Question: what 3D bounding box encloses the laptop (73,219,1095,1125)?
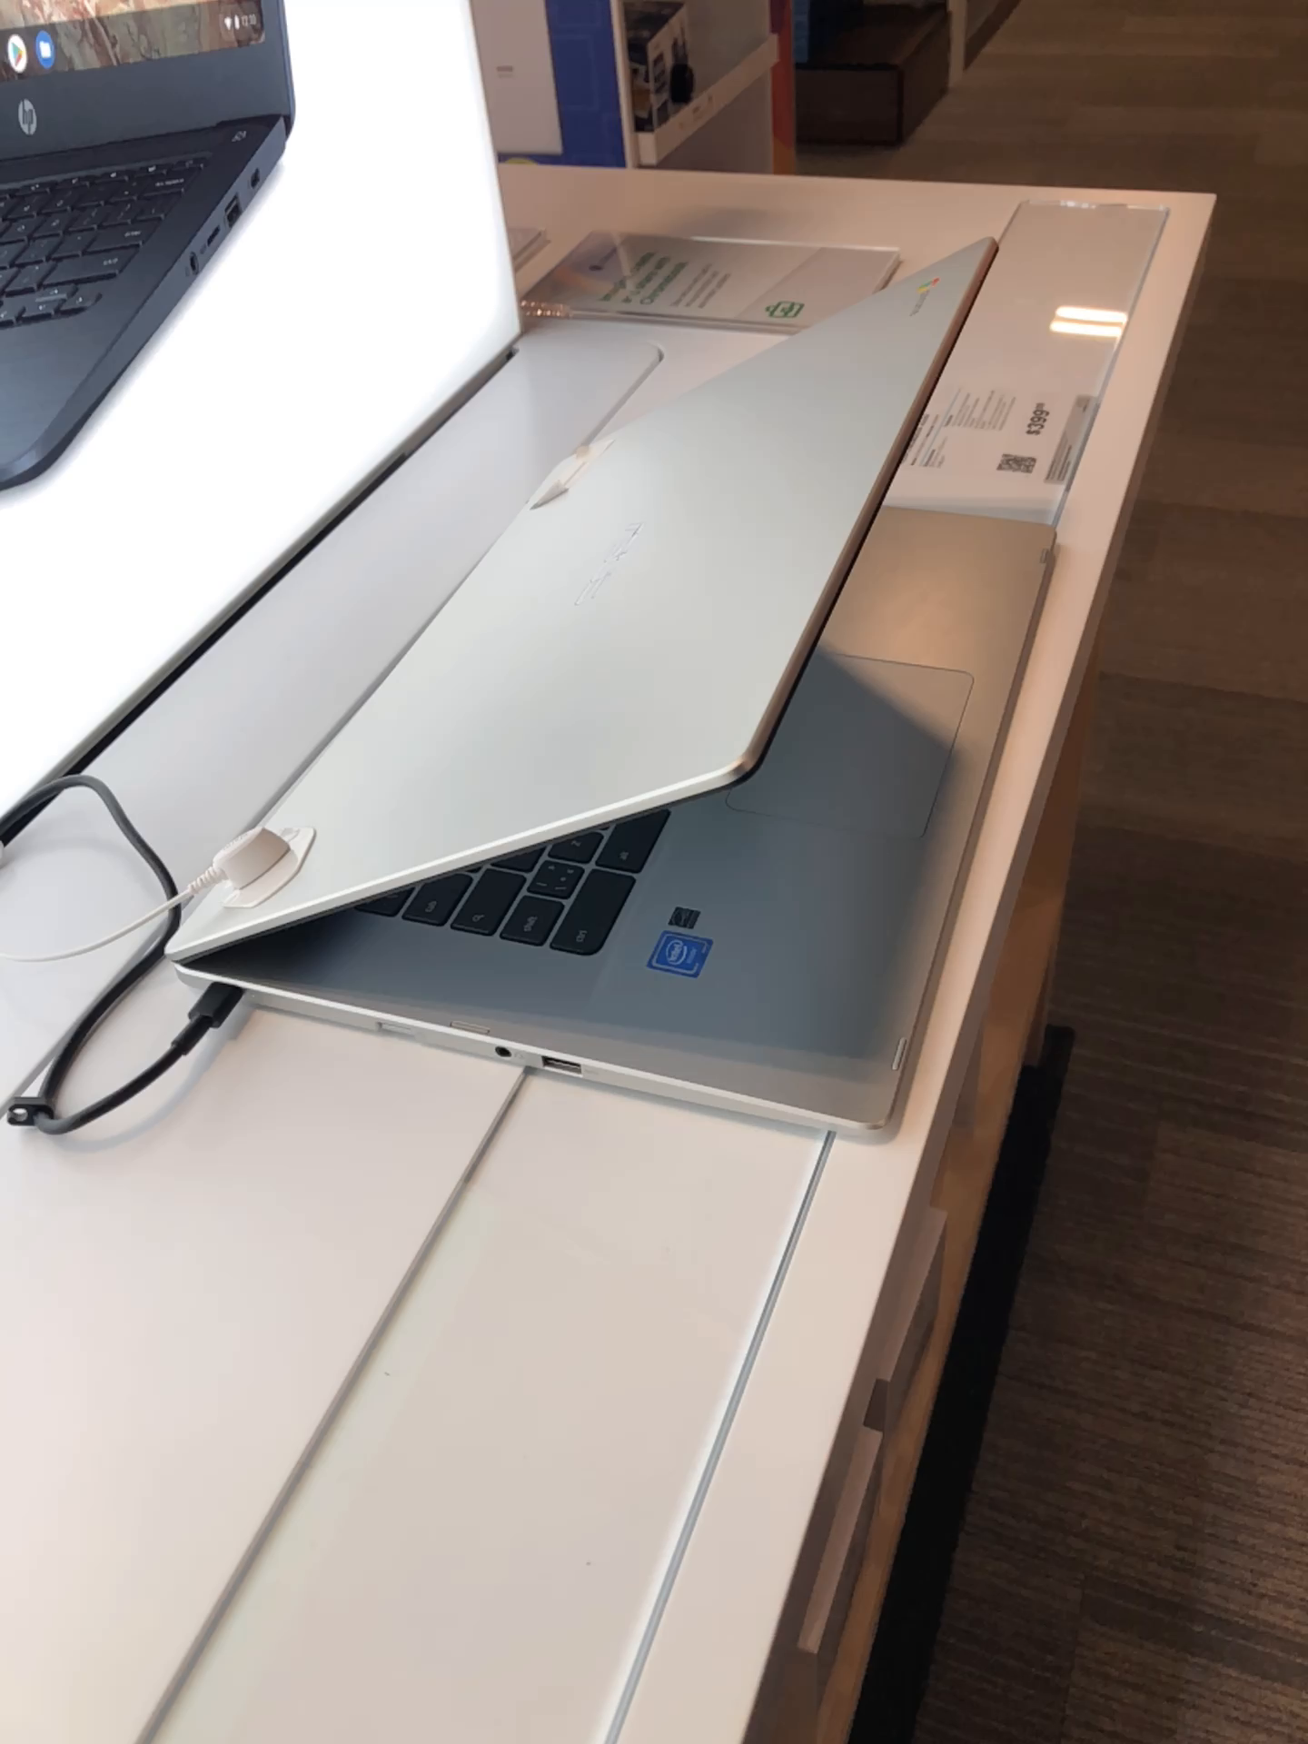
[{"bbox_3d":[0.011,-0.105,0.520,0.221,0.113,0.342,13,47,17],"label":"laptop"}]
